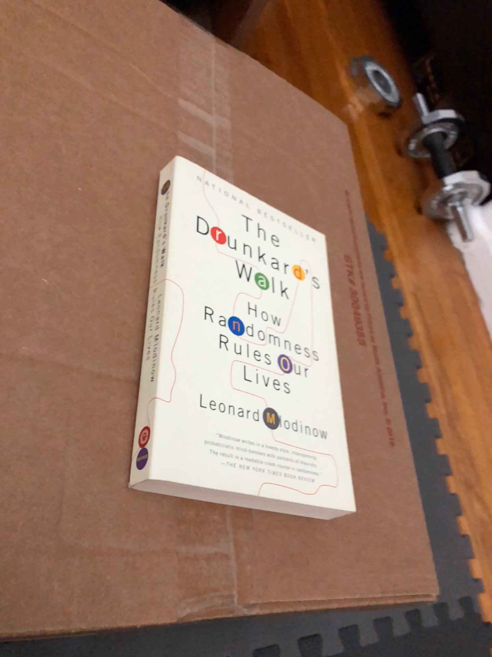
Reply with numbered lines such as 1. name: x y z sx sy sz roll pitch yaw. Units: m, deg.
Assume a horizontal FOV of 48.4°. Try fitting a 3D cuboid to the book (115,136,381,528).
1. book: 0.005 0.002 0.333 0.140 0.040 0.211 20 54 -32
